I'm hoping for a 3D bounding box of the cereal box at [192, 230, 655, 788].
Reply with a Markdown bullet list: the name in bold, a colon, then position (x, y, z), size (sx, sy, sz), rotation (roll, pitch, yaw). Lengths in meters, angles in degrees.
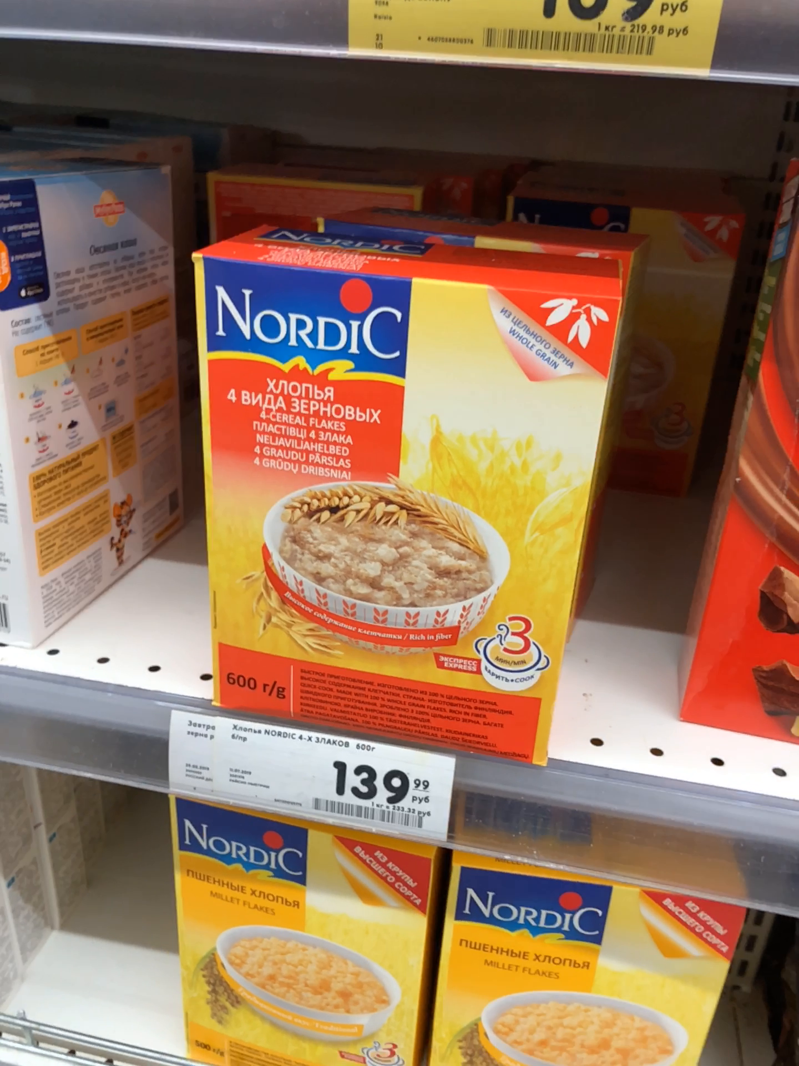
- **cereal box**: position (0.008, -0.012, 0.358), size (0.150, 0.189, 0.080), rotation (8, 26, 10)
